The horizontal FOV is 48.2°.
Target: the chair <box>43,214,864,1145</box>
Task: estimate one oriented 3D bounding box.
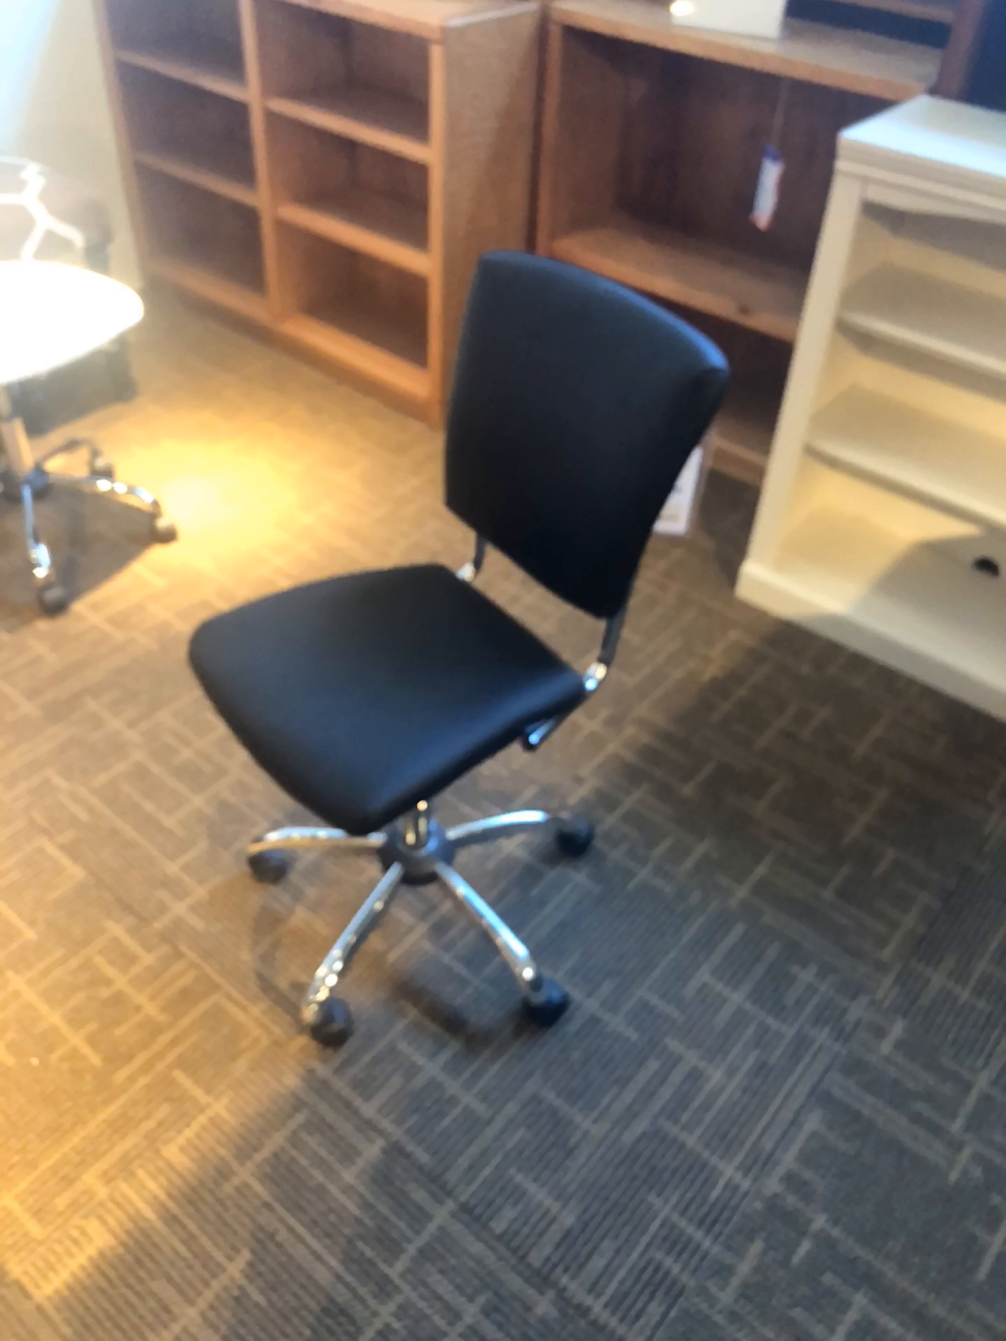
[{"bbox_3d":[-0.072,-0.007,1.407,0.609,0.826,0.575,-26,49,-29],"label":"chair"}]

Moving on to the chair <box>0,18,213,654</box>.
[{"bbox_3d":[-1.055,-0.651,2.180,0.608,0.915,0.585,25,46,24],"label":"chair"}]
